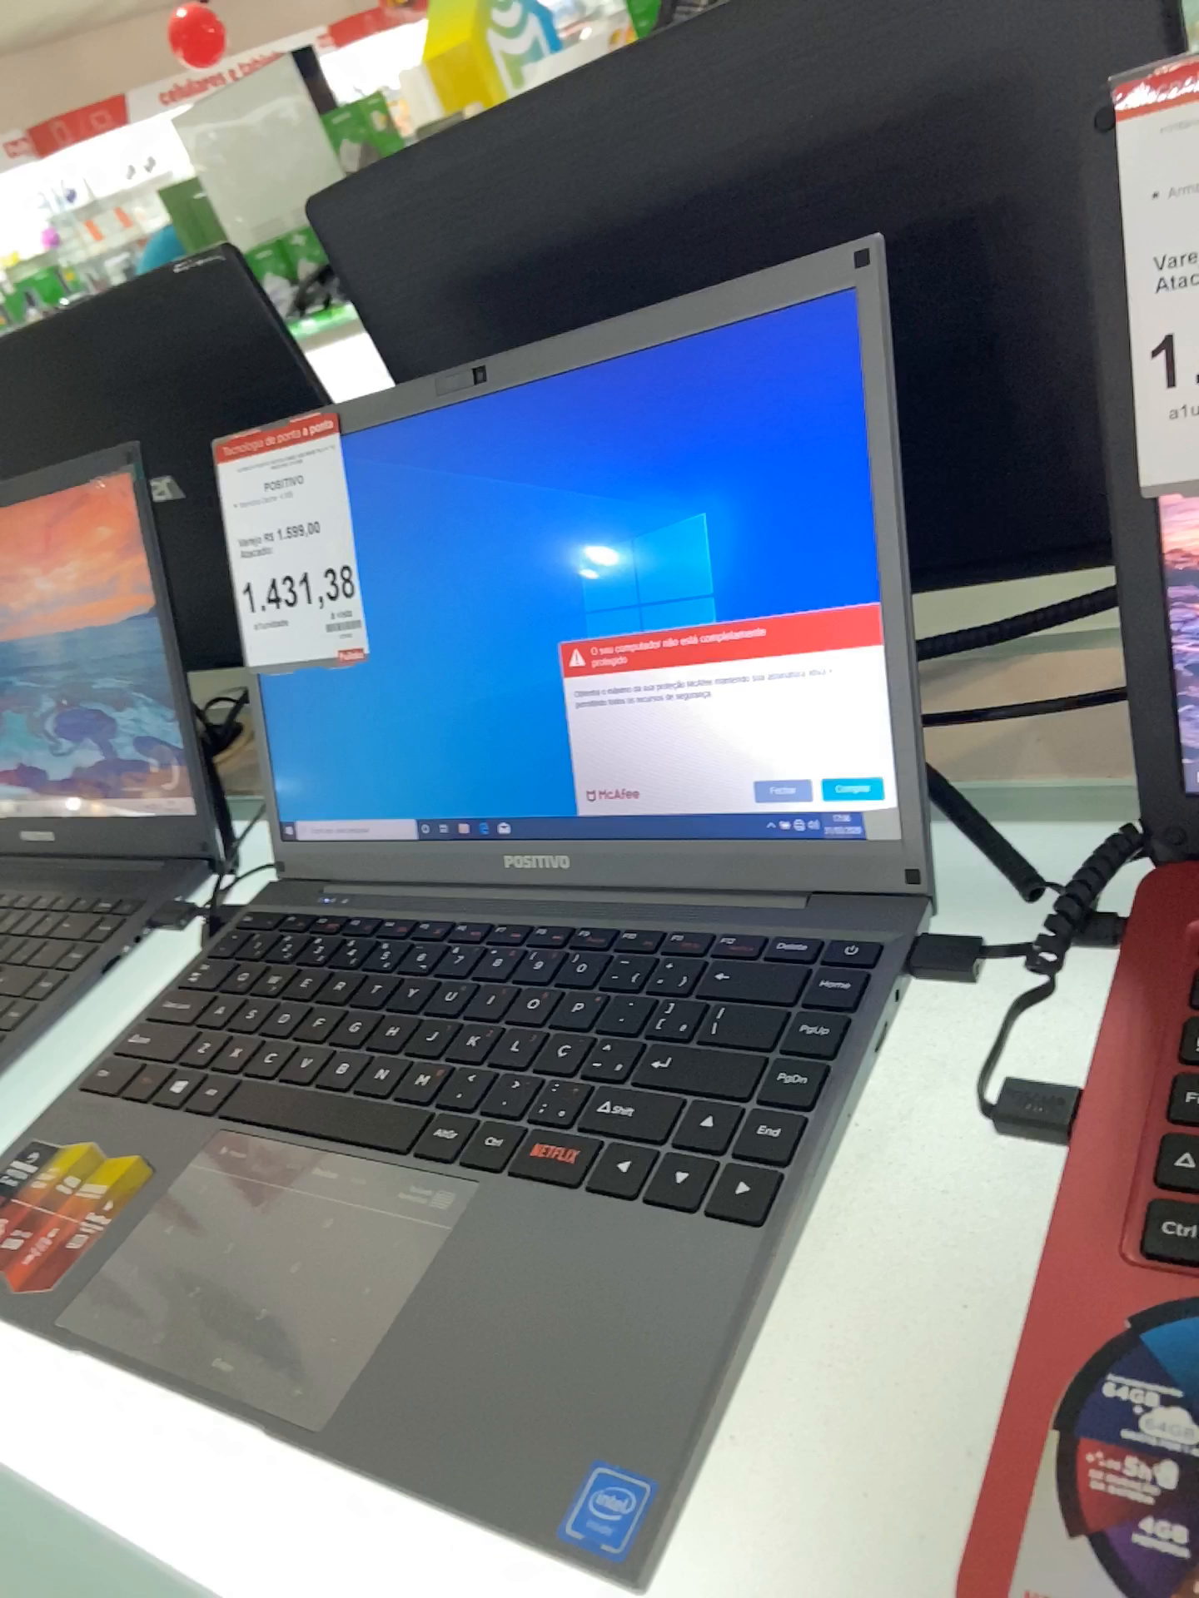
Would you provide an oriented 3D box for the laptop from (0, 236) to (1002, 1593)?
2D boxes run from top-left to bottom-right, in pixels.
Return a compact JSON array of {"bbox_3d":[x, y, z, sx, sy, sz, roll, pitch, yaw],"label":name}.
[{"bbox_3d":[-0.087,0.000,0.419,0.330,0.183,0.320,-2,36,36],"label":"laptop"}]
